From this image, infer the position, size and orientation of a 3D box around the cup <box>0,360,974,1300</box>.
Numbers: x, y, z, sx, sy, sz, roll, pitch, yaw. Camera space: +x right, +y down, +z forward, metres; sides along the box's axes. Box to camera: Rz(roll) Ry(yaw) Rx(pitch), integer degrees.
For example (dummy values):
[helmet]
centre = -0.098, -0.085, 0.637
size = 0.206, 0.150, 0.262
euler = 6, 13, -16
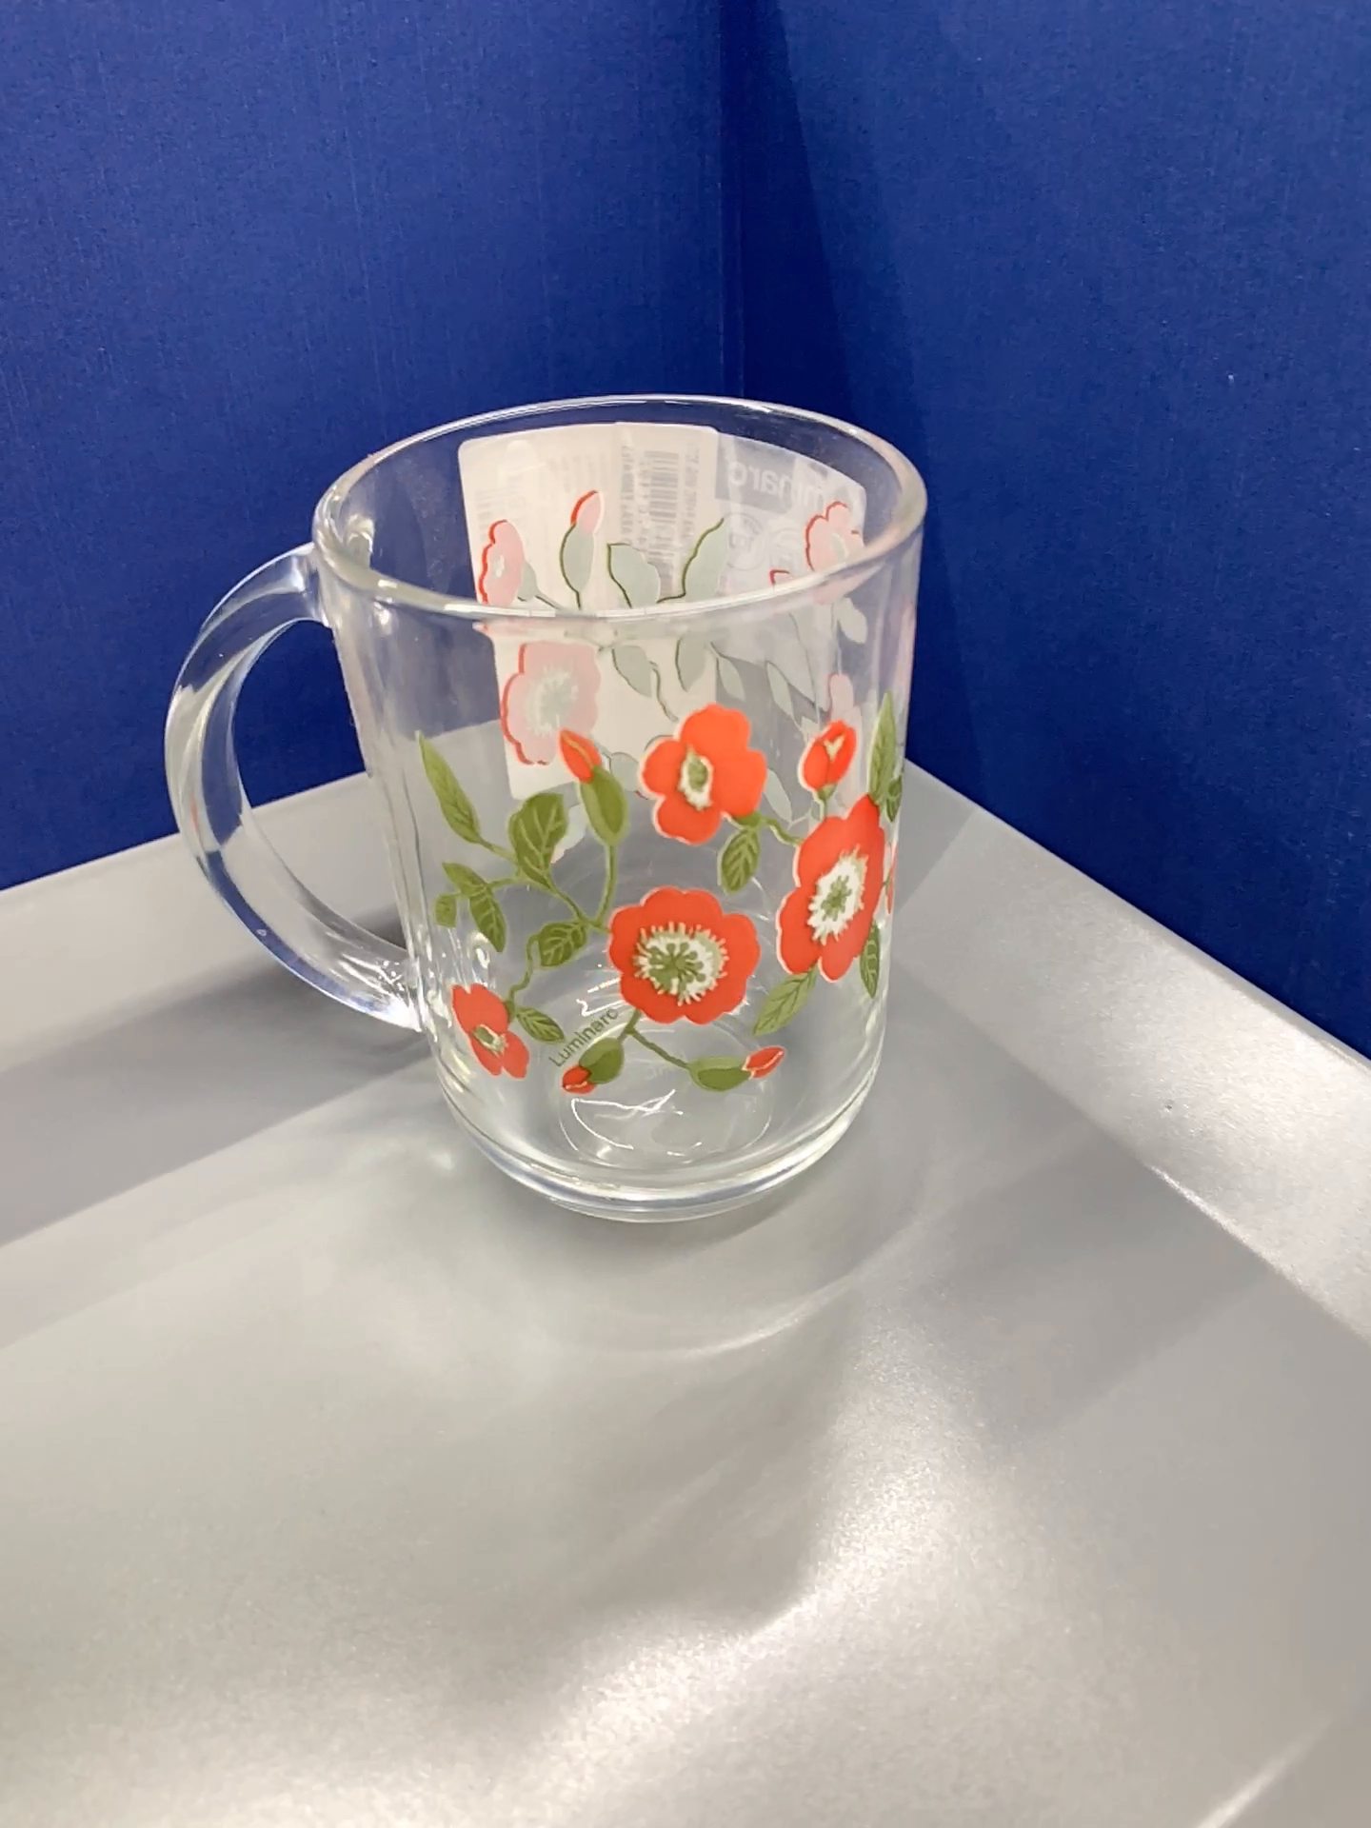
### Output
[cup]
centre = -0.025, -0.016, 0.209
size = 0.114, 0.104, 0.088
euler = 1, 35, 4
